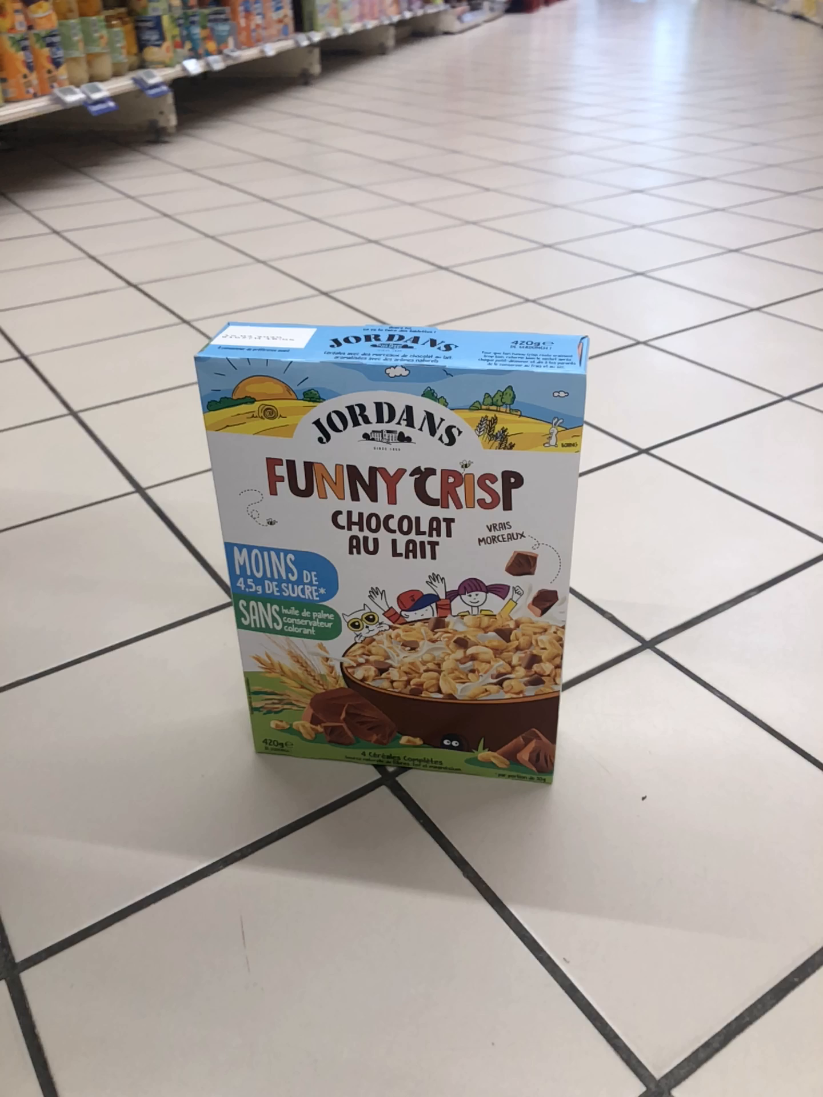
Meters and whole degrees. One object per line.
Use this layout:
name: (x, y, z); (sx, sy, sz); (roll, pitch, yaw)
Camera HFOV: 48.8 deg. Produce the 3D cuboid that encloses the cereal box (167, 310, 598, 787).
cereal box: (-0.008, 0.005, 0.458); (0.180, 0.229, 0.060); (5, 32, 10)
